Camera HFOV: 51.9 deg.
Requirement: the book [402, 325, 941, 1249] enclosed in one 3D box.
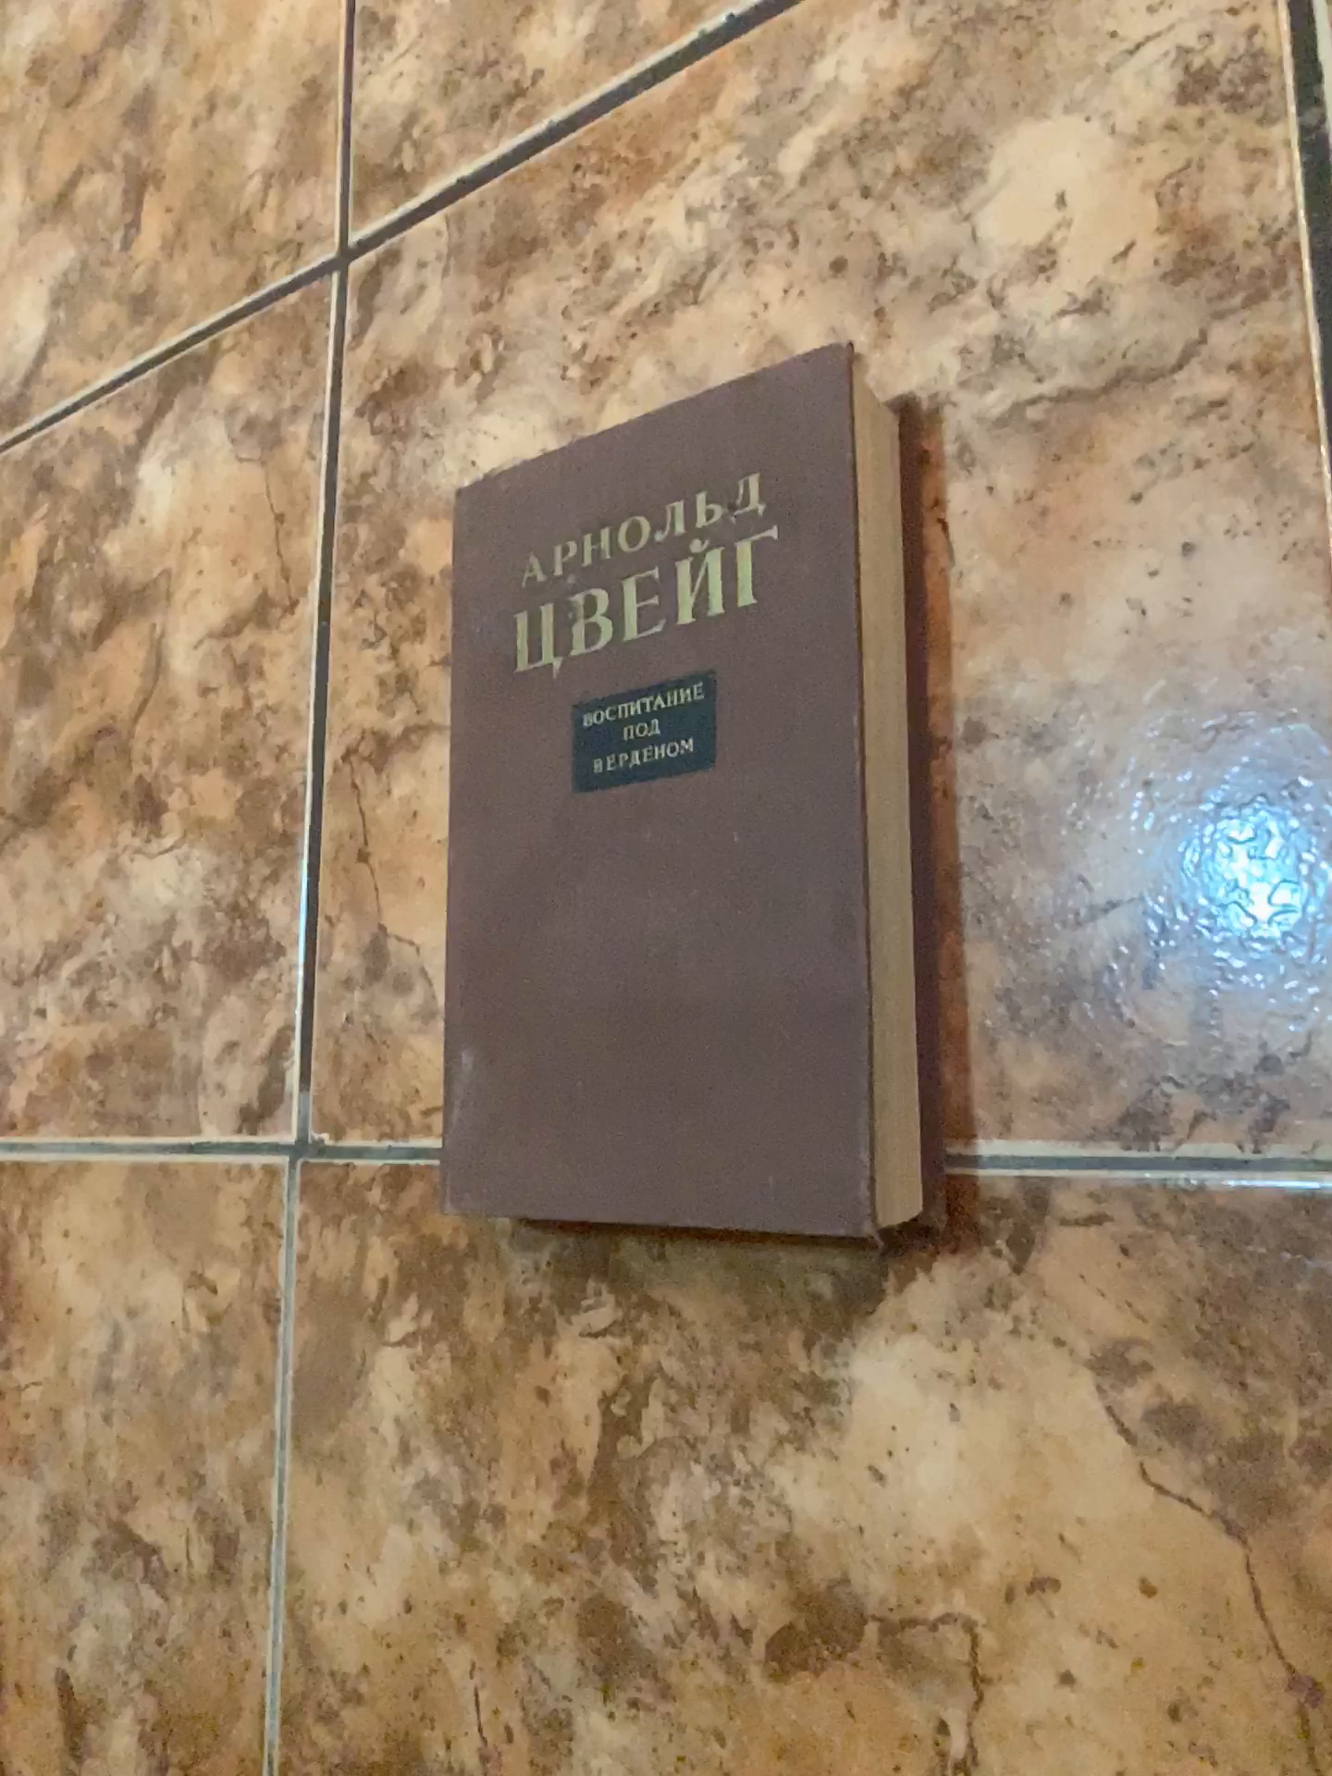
[{"bbox_3d":[-0.004,-0.018,0.351,0.140,0.034,0.205,-7,78,37],"label":"book"}]
